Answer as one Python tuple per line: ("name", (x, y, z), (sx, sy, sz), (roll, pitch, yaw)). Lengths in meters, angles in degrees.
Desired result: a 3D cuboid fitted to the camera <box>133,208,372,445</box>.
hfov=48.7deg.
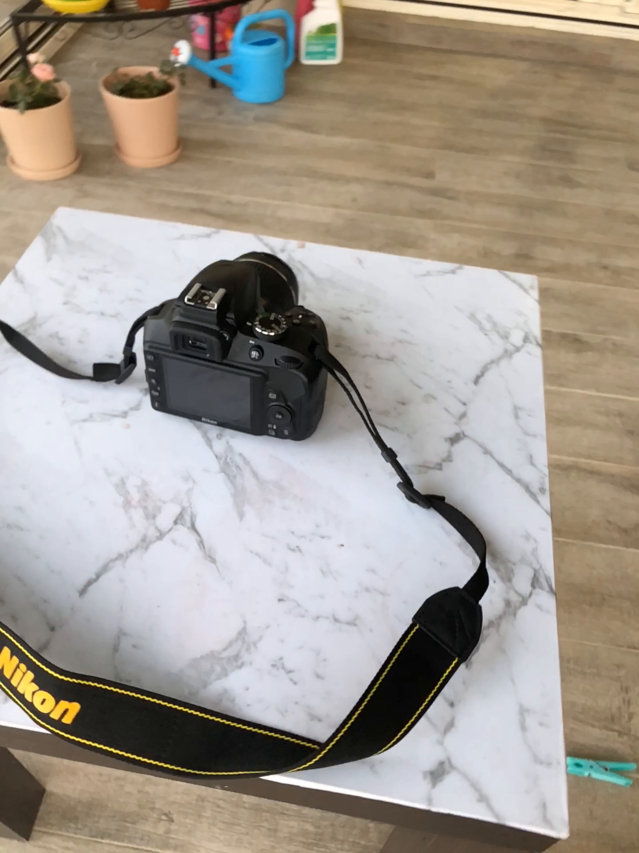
("camera", (-0.041, -0.076, 0.501), (0.121, 0.076, 0.138), (14, 47, 8))
